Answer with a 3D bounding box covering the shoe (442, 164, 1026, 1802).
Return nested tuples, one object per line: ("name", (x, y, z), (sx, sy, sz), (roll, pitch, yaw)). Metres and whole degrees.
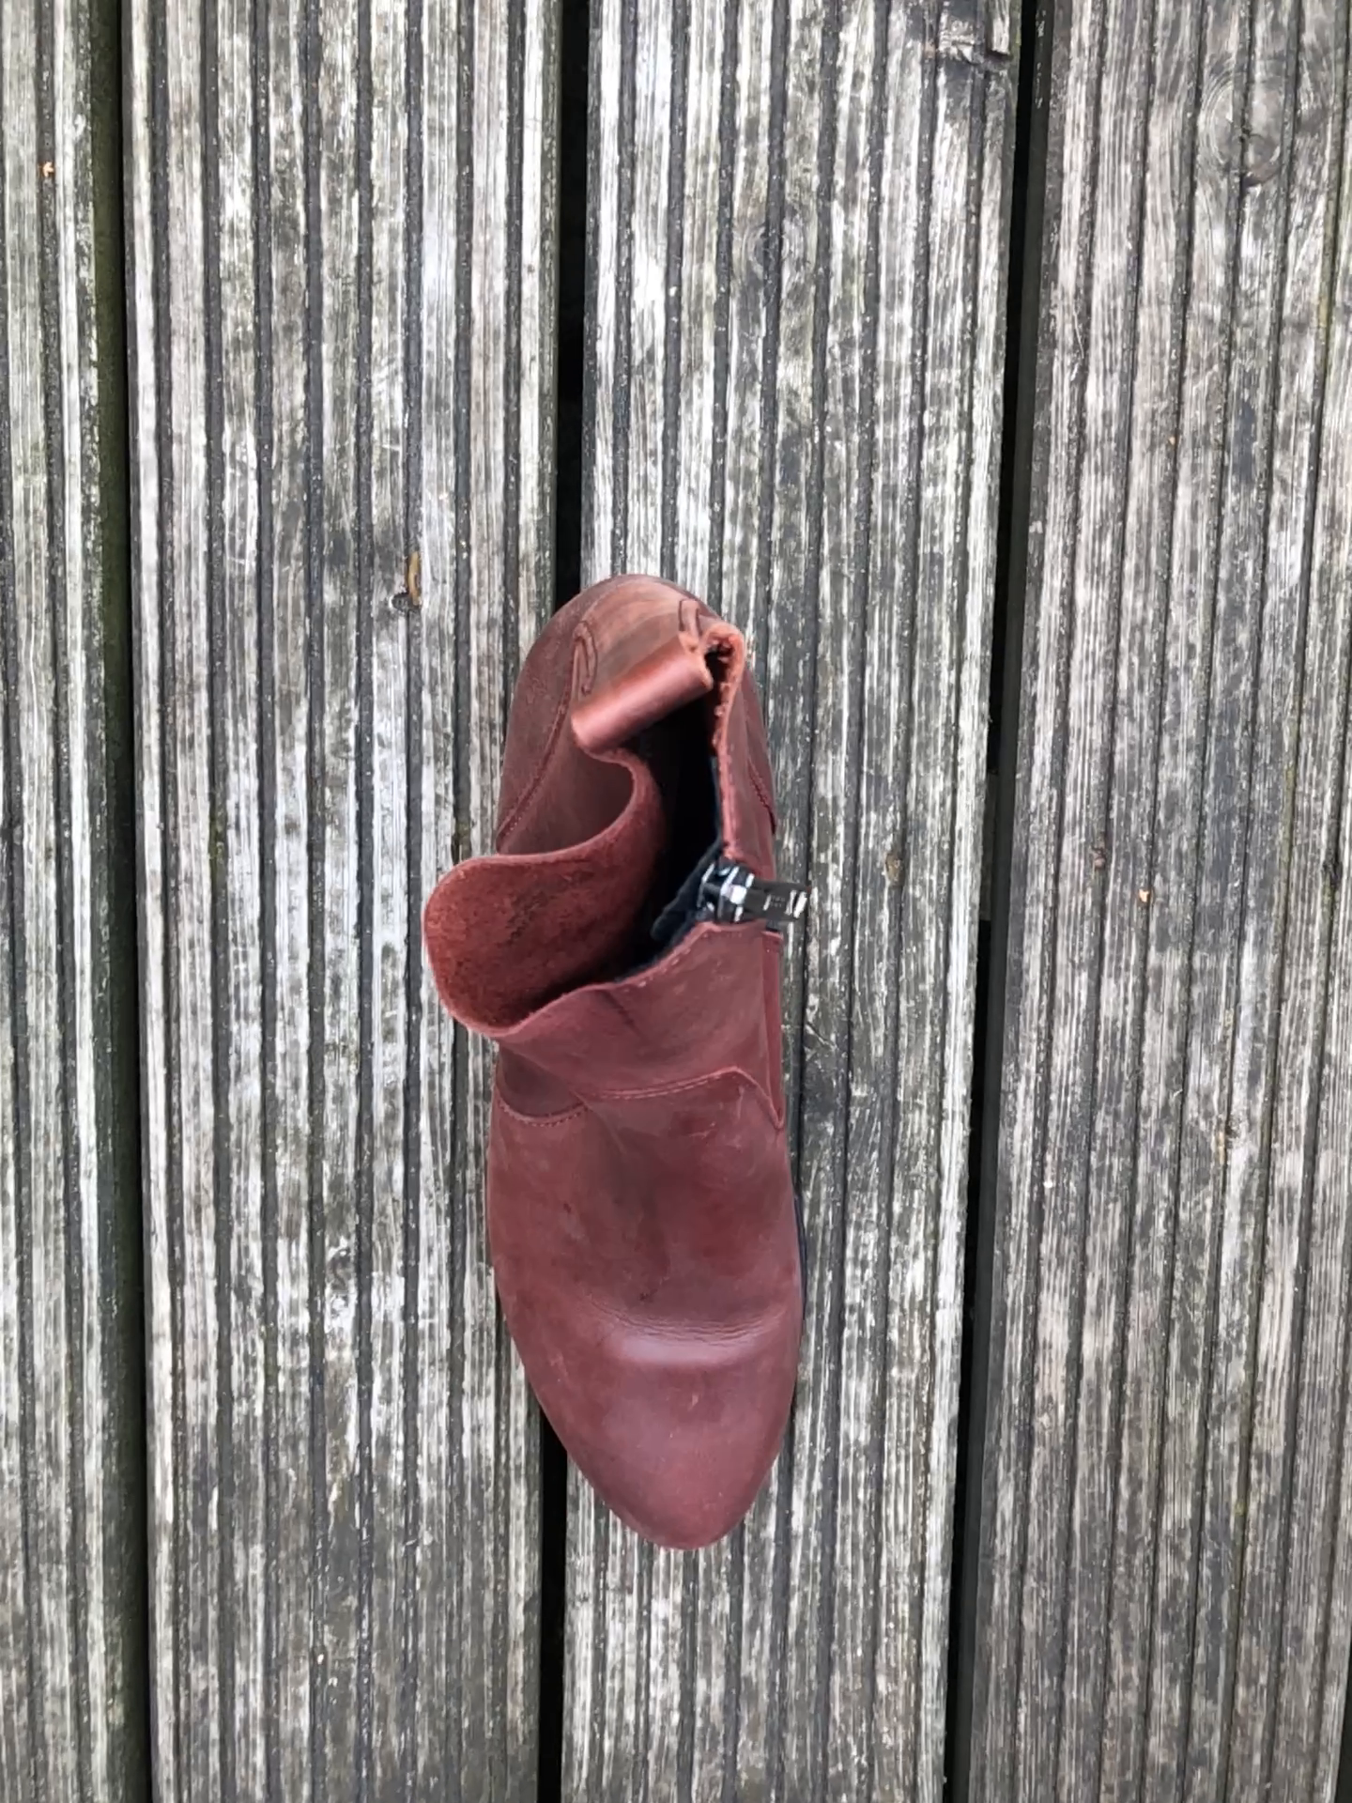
("shoe", (0.006, 0.036, 0.382), (0.090, 0.240, 0.340), (2, 97, -1))
